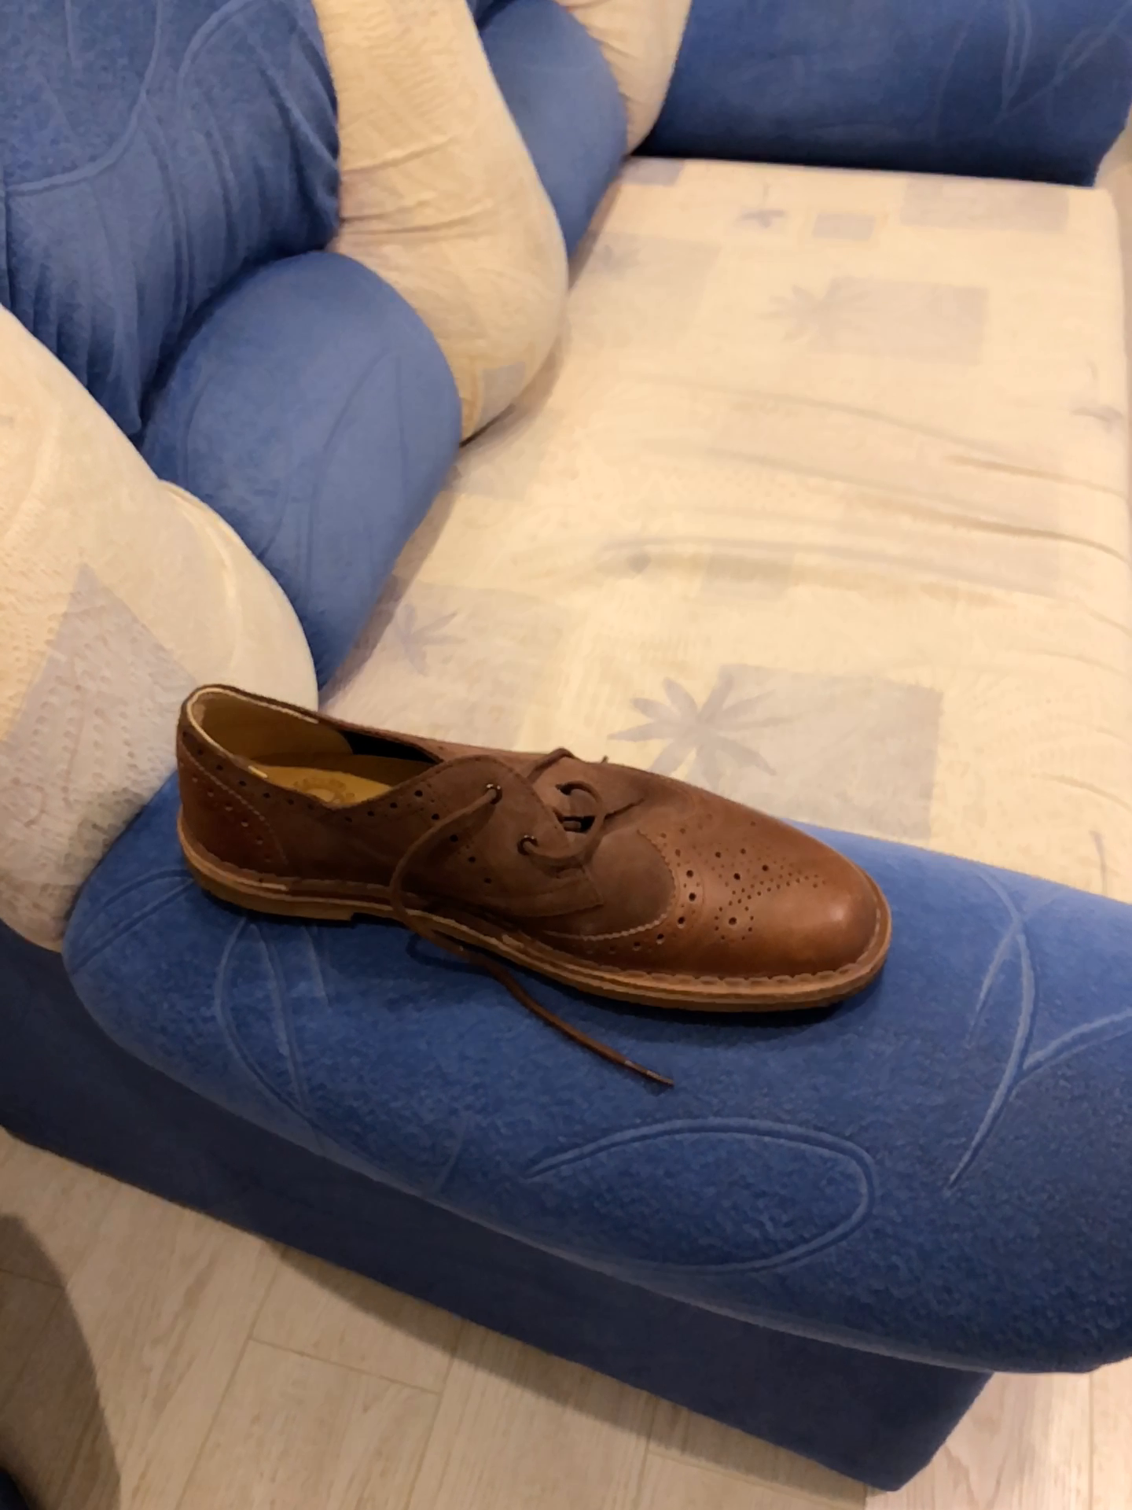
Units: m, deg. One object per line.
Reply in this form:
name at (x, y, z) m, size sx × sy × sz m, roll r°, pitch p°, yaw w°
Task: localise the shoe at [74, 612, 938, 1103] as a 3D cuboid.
shoe at (-0.019, 0.035, 0.515) m, size 0.313 × 0.089 × 0.114 m, roll 10°, pitch 48°, yaw 11°
